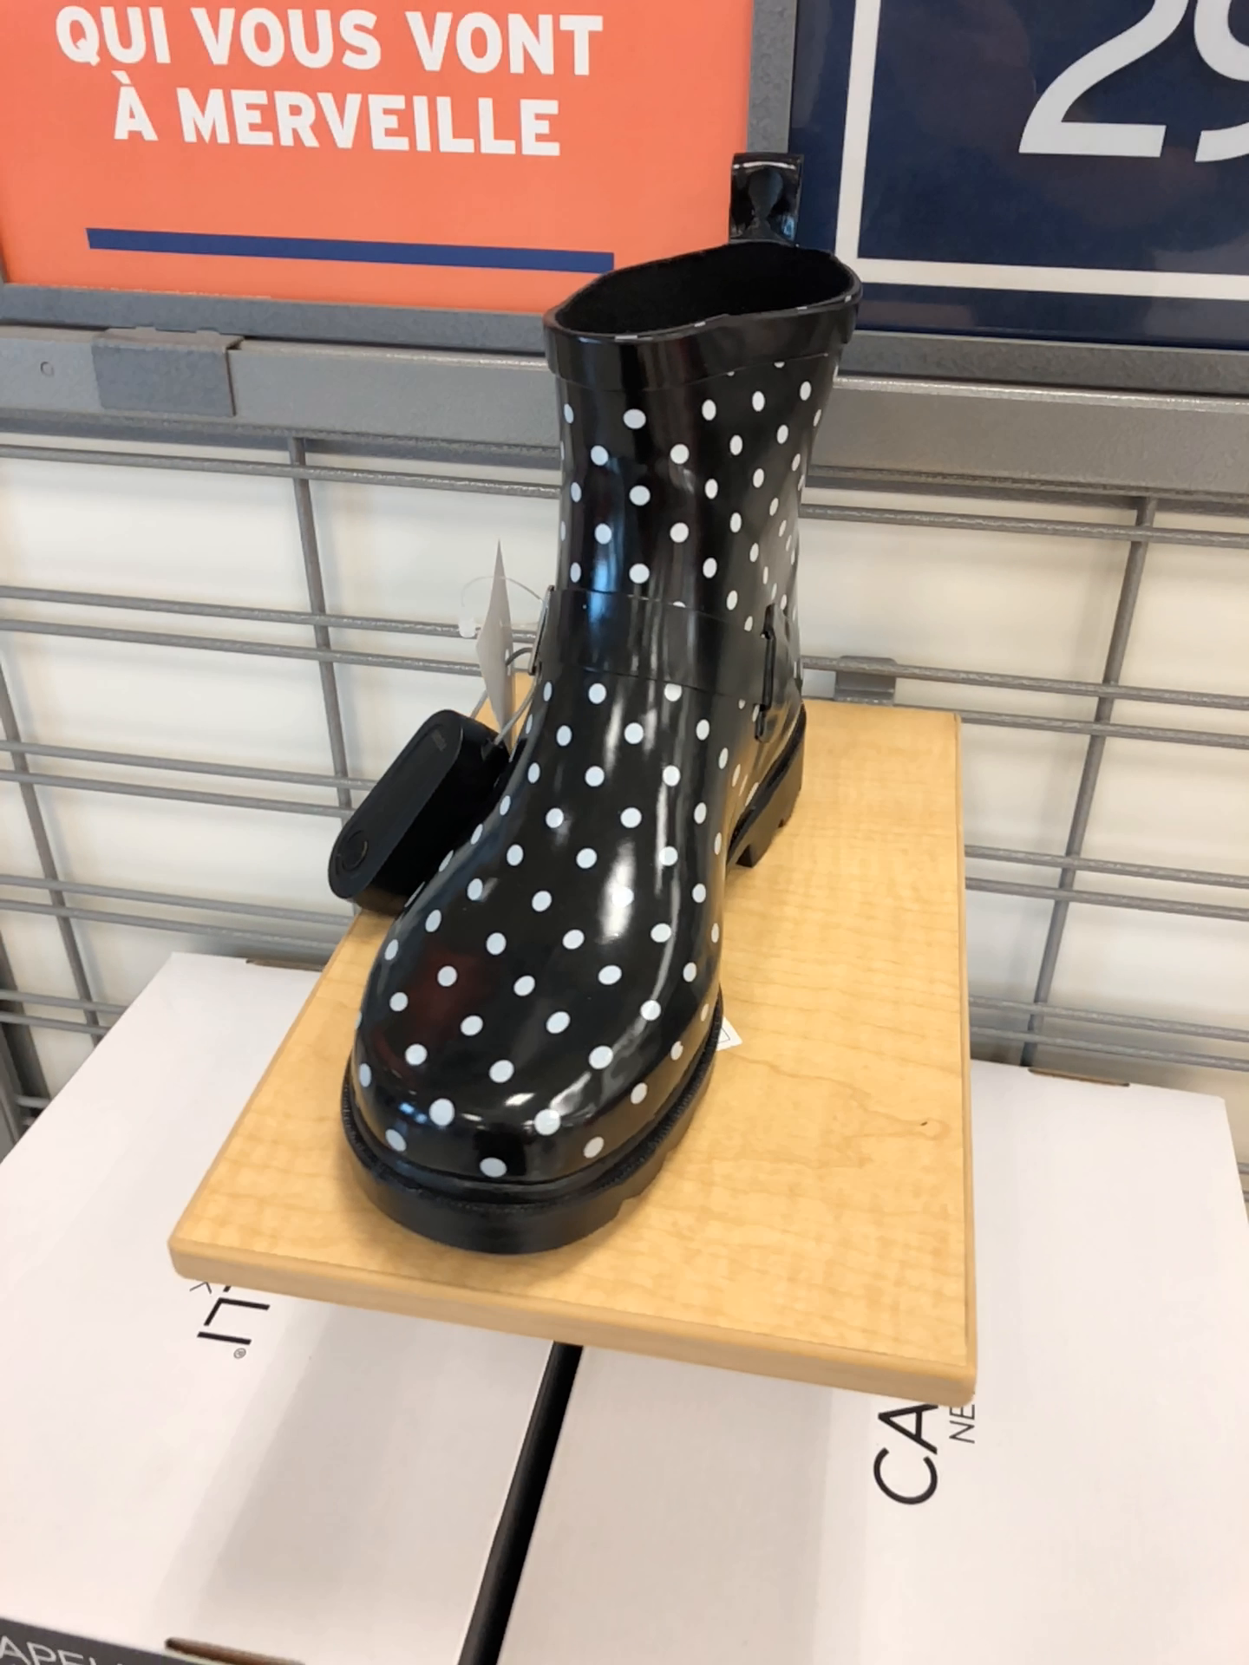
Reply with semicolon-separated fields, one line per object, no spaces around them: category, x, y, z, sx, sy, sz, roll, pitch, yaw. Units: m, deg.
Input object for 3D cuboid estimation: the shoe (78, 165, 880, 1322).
shoe;-0.005;-0.050;0.363;0.095;0.188;0.262;8;35;13
